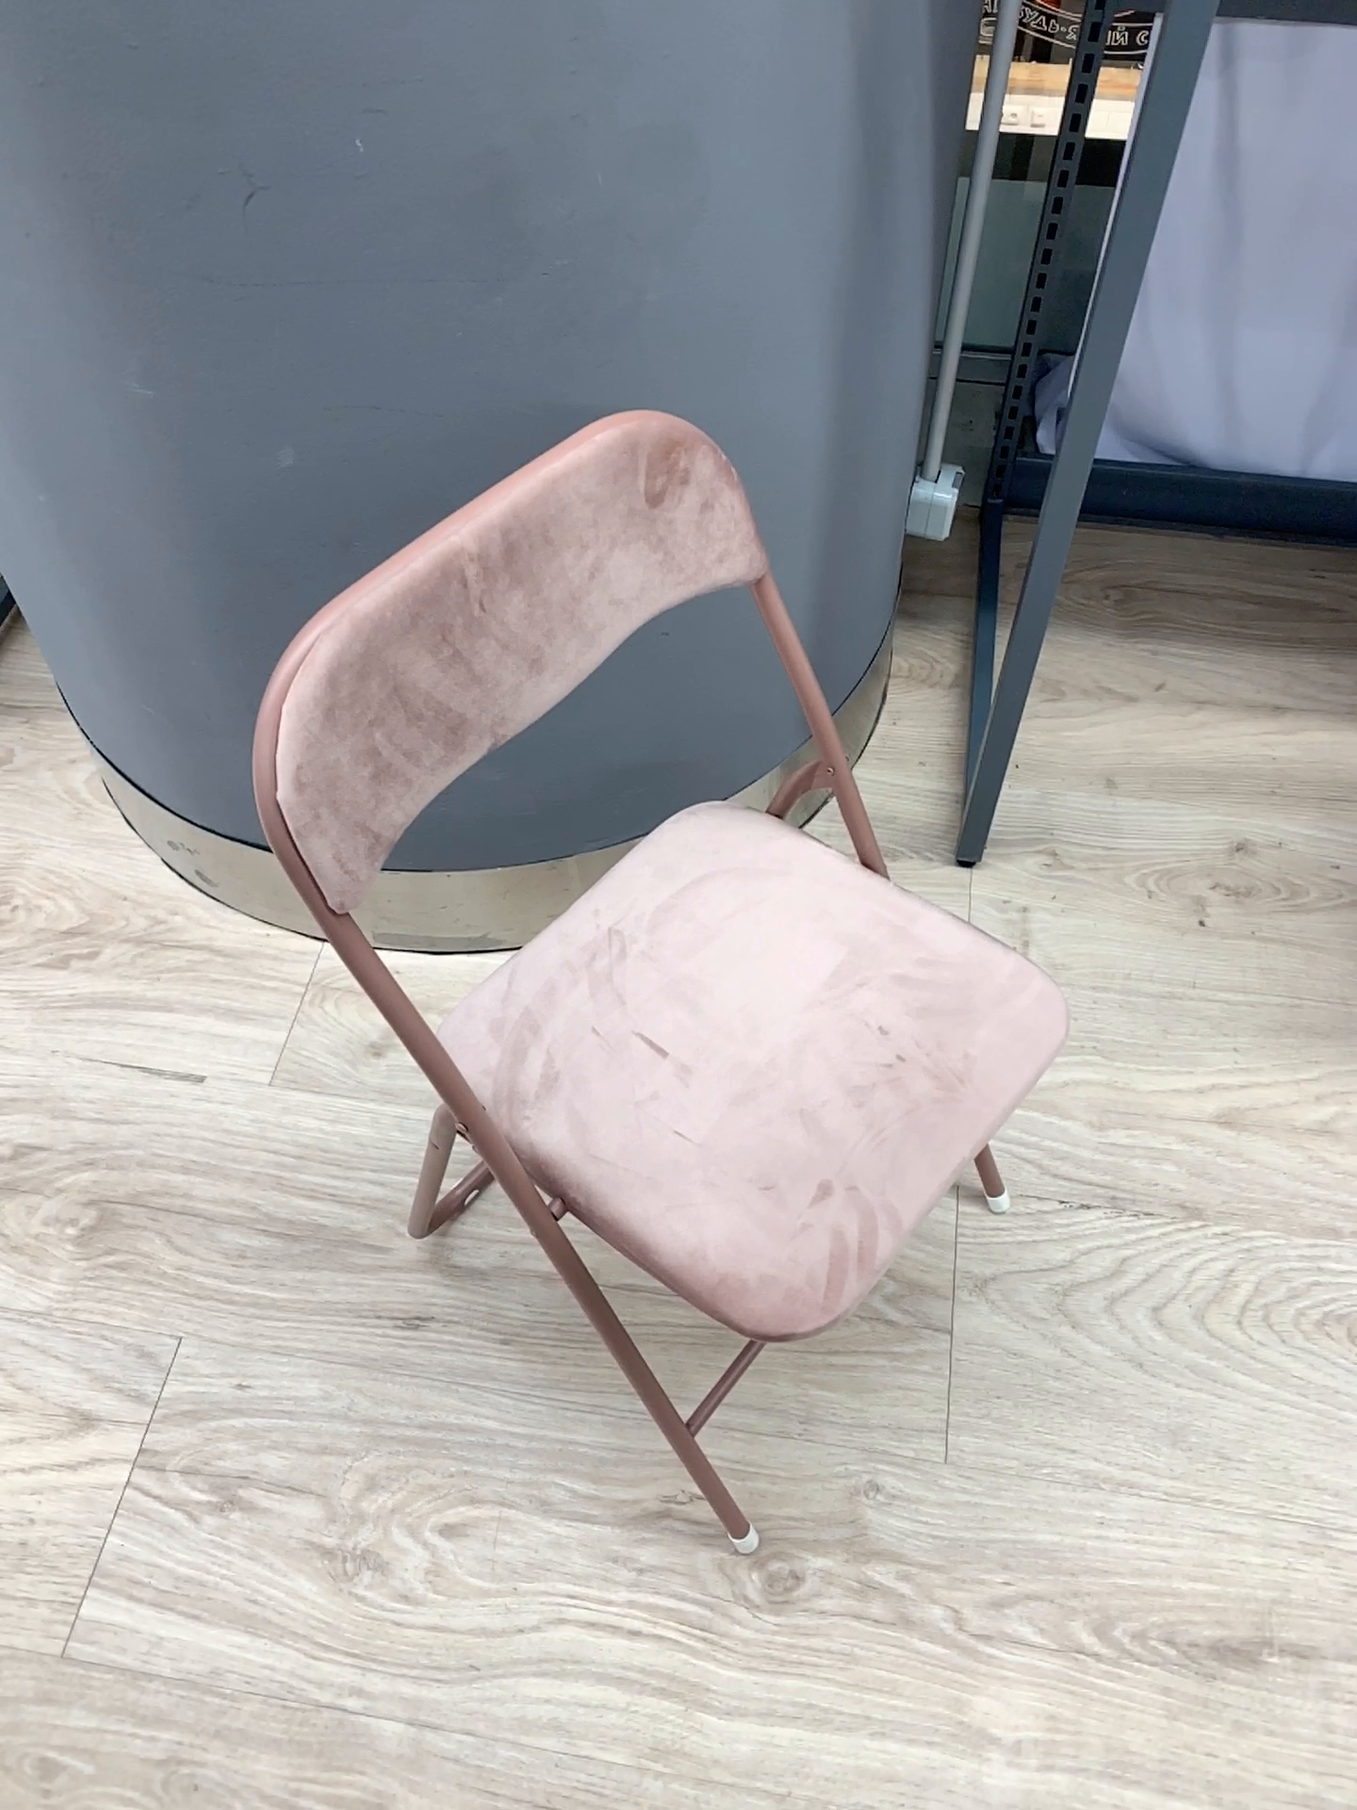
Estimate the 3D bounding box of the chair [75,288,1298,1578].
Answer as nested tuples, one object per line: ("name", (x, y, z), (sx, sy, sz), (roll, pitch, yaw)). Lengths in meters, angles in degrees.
("chair", (0.015, 0.080, 1.066), (0.481, 0.797, 0.461), (32, 60, 22))
